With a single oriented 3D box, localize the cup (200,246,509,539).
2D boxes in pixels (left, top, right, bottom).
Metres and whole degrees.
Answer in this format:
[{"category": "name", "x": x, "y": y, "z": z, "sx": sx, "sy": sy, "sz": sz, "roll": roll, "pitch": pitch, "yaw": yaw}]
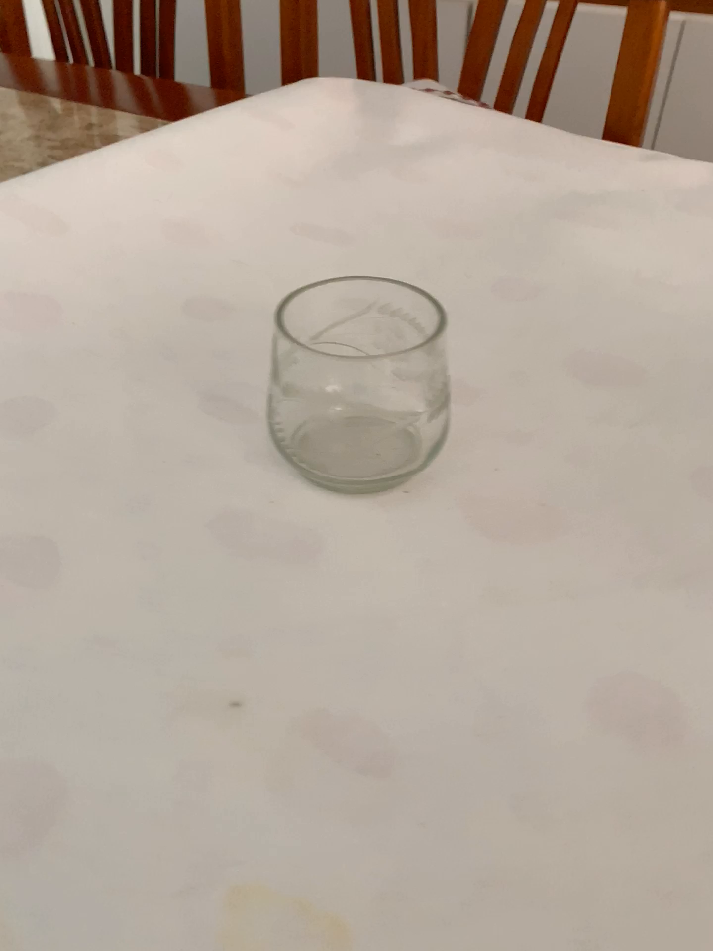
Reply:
[{"category": "cup", "x": 0.002, "y": -0.036, "z": 0.280, "sx": 0.080, "sy": 0.060, "sz": 0.080, "roll": 0, "pitch": 40, "yaw": 0}]
